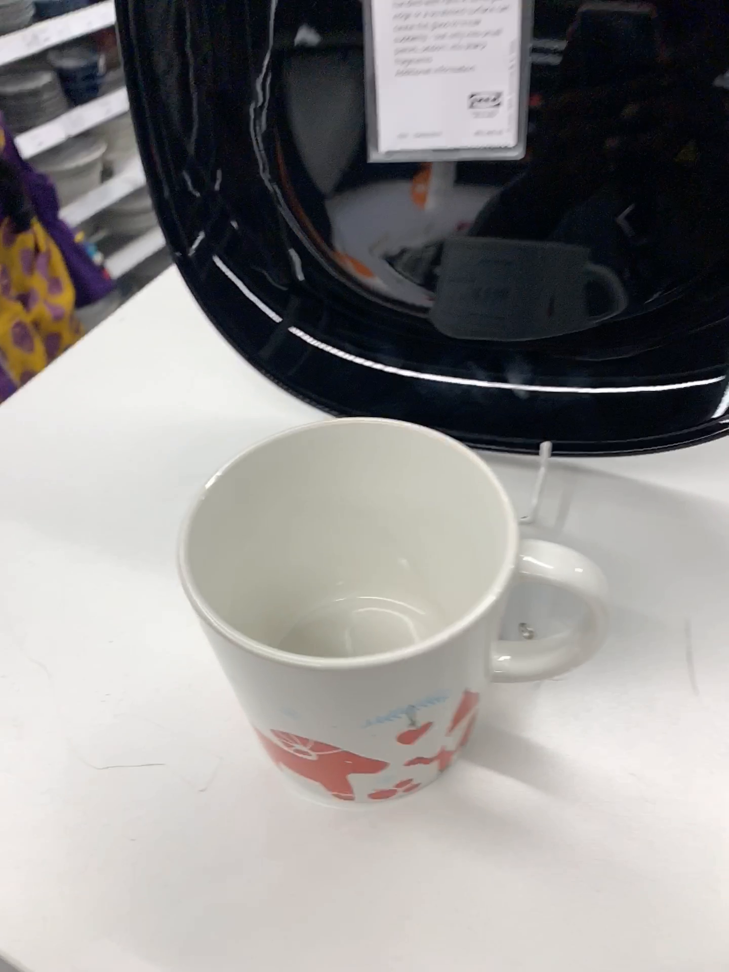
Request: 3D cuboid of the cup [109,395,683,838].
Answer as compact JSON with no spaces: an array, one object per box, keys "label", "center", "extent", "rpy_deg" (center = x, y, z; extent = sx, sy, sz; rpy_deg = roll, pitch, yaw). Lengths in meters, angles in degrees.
[{"label":"cup","center":[0.008,0.039,0.222],"extent":[0.120,0.090,0.090],"rpy_deg":[-1,44,3]}]
